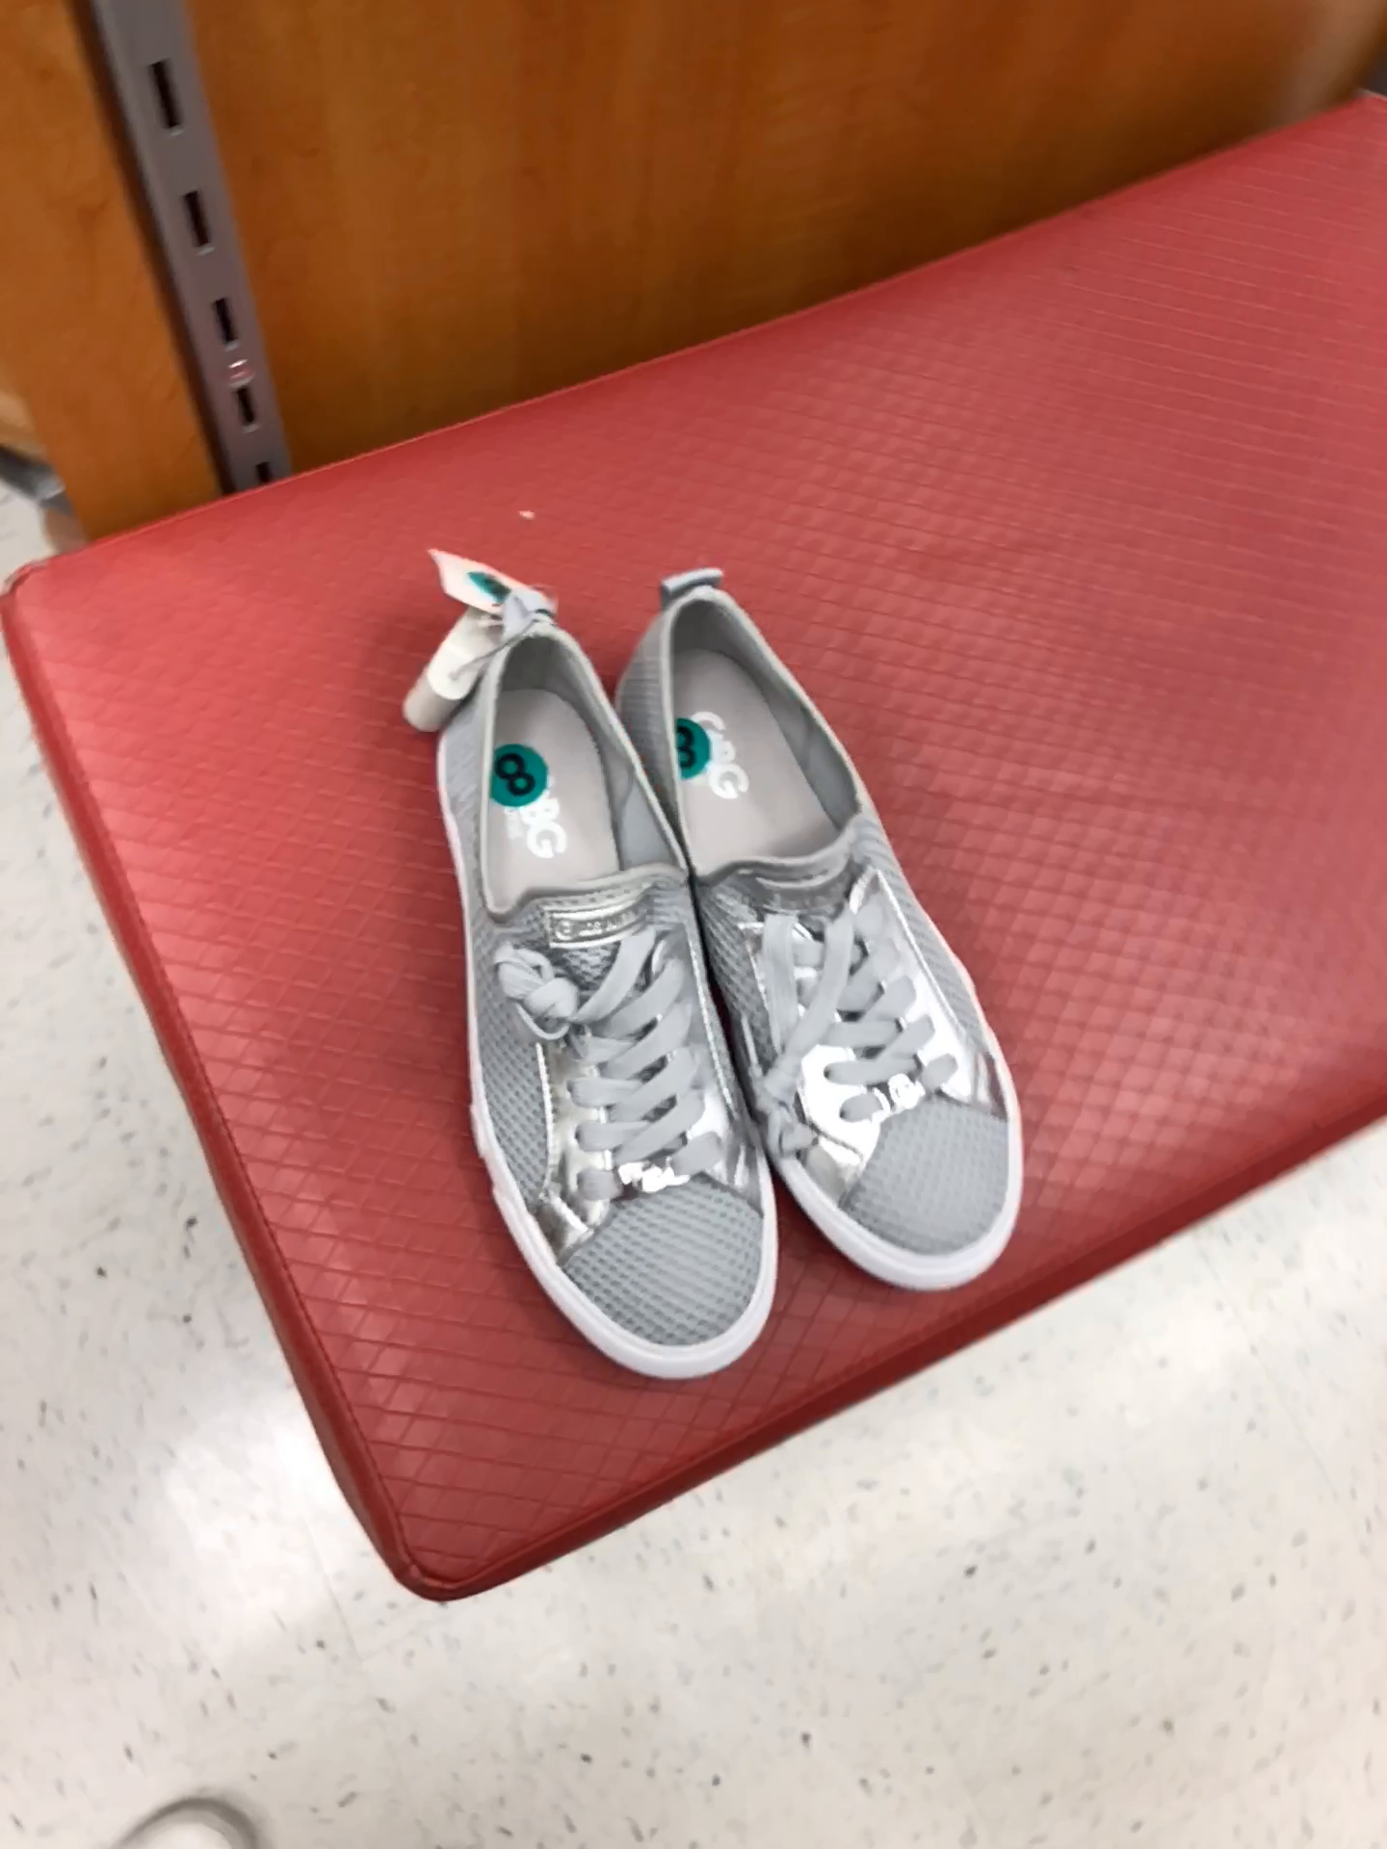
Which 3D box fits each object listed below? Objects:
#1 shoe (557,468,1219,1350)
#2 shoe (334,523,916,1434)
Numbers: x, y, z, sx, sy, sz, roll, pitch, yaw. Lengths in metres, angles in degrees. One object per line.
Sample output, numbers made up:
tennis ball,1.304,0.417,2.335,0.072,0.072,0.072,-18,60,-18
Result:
shoe,0.053,-0.005,0.531,0.106,0.095,0.268,-20,76,-13
shoe,-0.031,0.018,0.514,0.106,0.097,0.268,-15,75,-11
